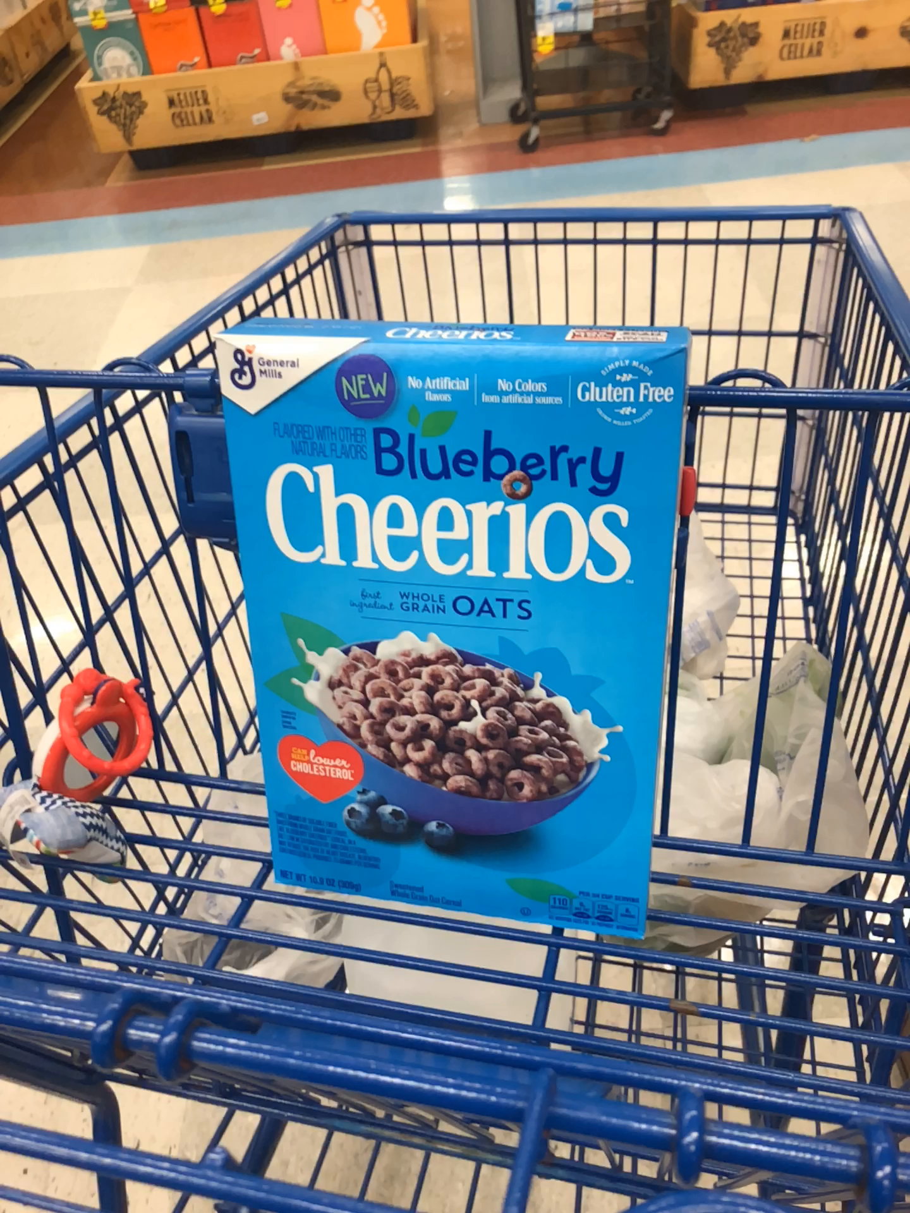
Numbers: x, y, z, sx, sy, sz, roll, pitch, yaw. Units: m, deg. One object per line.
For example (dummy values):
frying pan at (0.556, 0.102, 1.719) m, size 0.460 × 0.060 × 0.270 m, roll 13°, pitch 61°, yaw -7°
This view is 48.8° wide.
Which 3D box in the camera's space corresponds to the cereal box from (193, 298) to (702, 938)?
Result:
cereal box at (0.001, 0.005, 0.471) m, size 0.200 × 0.280 × 0.070 m, roll 5°, pitch 23°, yaw 13°
